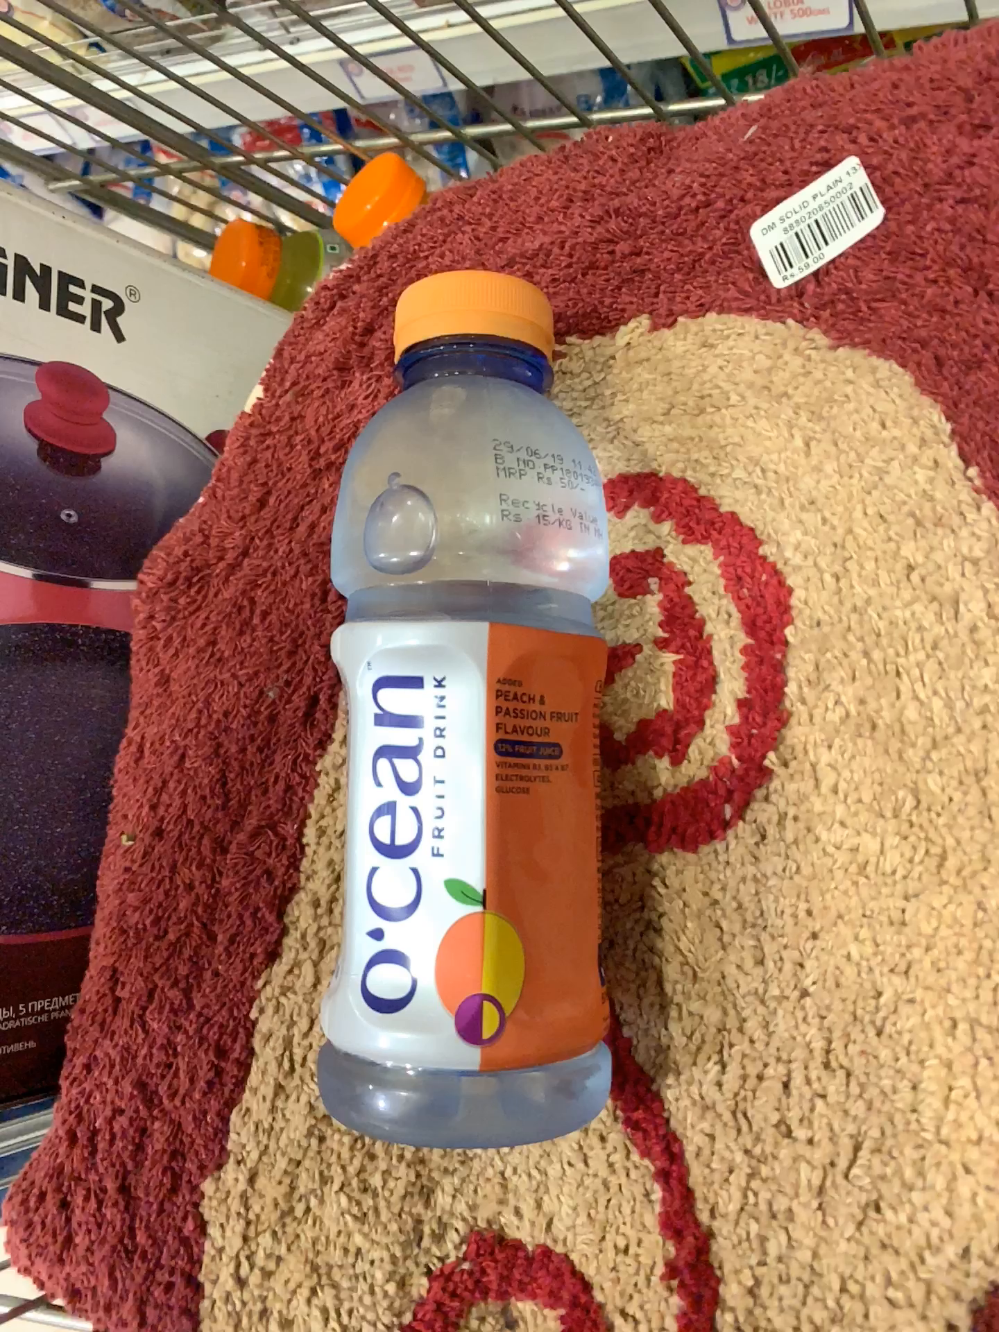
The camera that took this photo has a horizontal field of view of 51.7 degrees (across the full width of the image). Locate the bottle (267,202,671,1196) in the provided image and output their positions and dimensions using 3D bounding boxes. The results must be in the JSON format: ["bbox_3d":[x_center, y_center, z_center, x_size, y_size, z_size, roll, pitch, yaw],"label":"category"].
[{"bbox_3d":[-0.004,0.006,0.228,0.070,0.060,0.180,0,89,24],"label":"bottle"}]
